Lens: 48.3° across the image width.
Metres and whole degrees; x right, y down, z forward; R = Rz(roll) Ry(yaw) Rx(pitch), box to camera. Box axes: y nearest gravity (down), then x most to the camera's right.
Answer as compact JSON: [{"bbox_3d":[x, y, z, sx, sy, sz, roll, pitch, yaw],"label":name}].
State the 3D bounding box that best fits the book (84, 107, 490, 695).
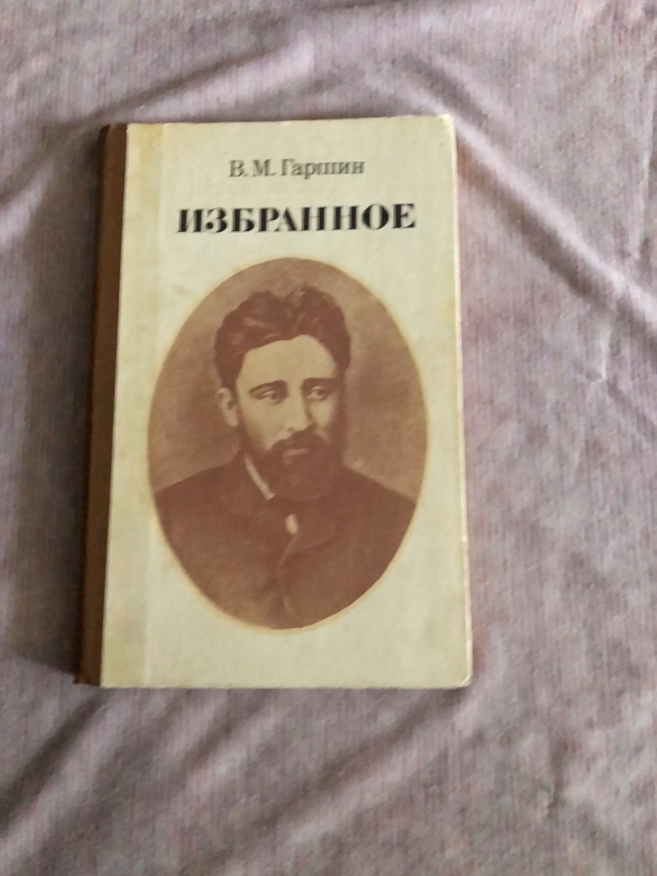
[{"bbox_3d":[-0.015,-0.017,0.286,0.142,0.030,0.220,-1,81,2],"label":"book"}]
